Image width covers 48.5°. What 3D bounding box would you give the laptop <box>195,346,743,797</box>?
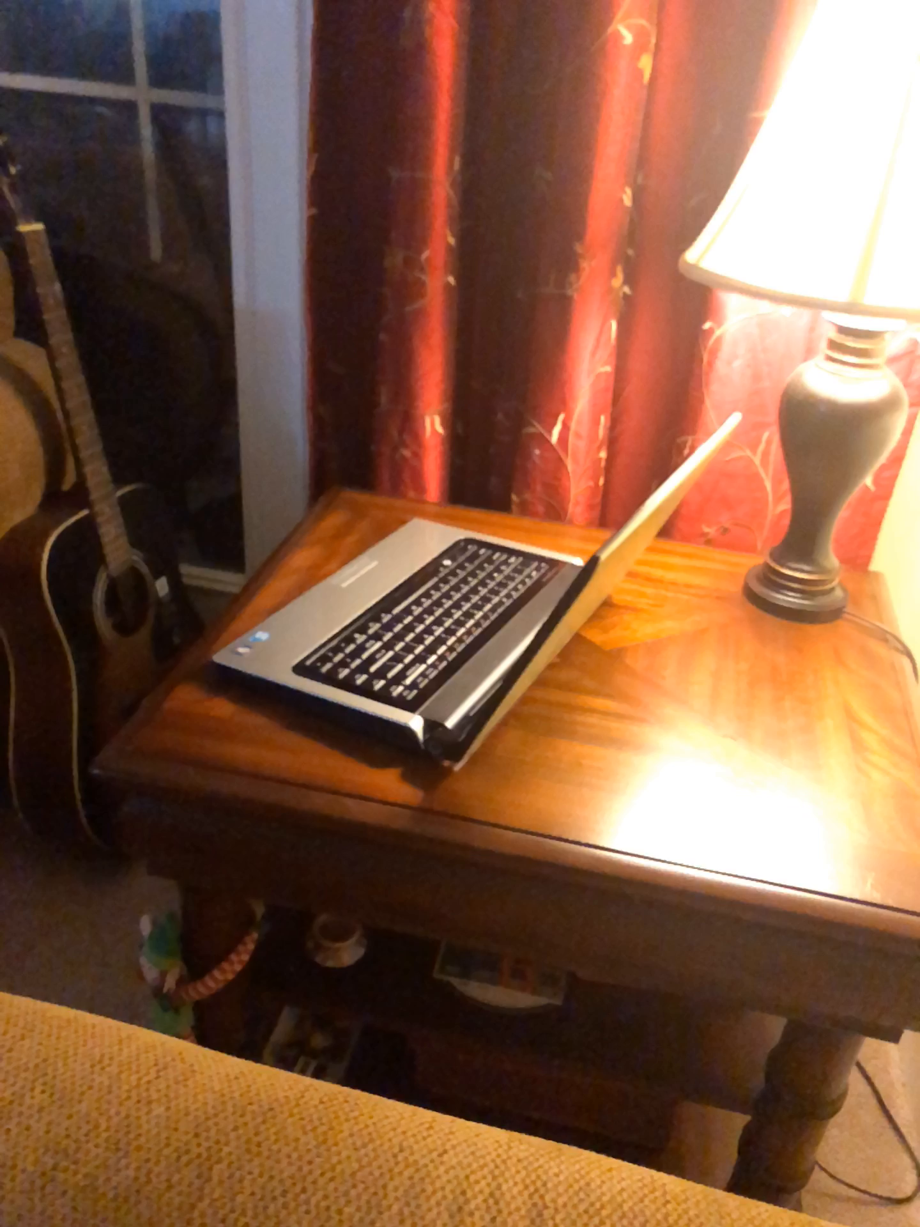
[{"bbox_3d":[0.022,-0.073,0.948,0.351,0.204,0.363,18,33,22],"label":"laptop"}]
